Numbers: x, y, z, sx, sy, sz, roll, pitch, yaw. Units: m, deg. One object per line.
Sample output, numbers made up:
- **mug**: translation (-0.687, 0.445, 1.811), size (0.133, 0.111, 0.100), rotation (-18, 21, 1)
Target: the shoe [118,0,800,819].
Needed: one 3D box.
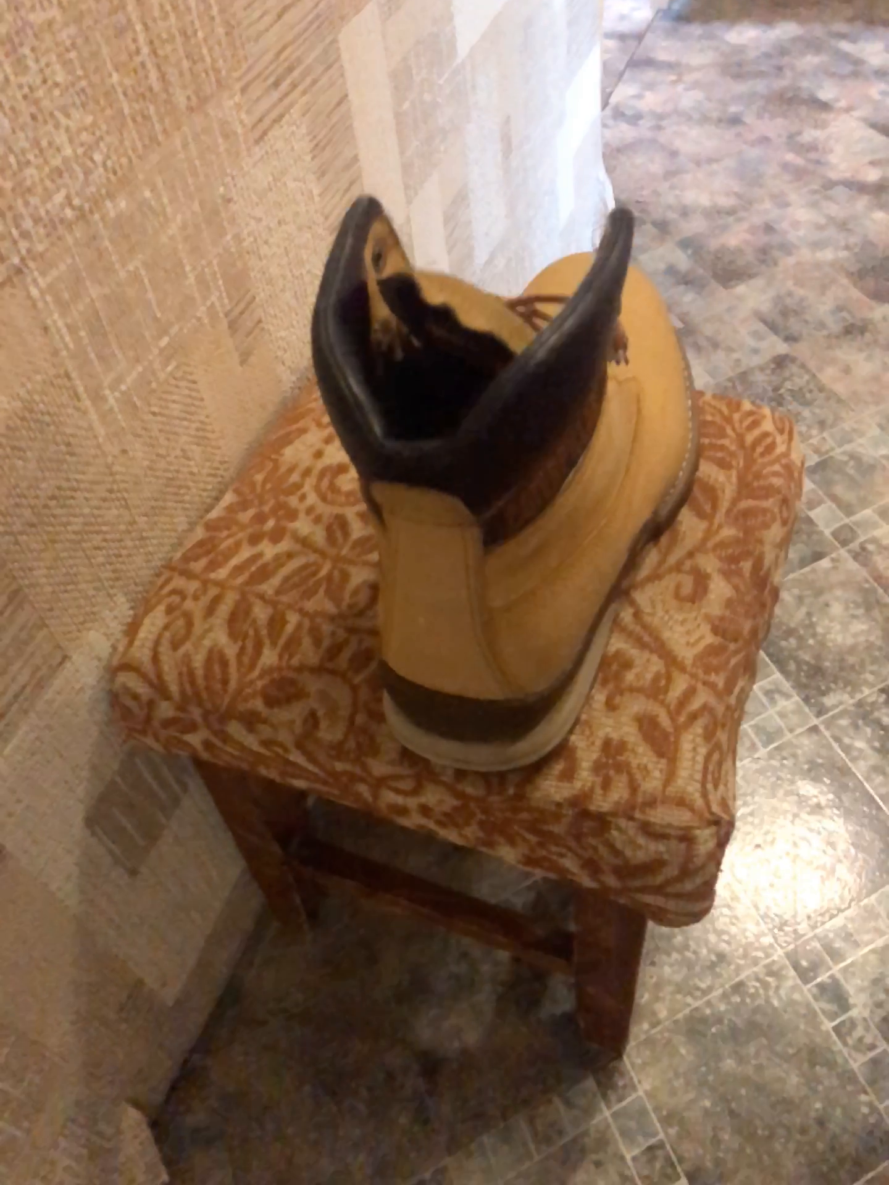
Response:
- **shoe**: translation (0.038, -0.105, 0.406), size (0.140, 0.189, 0.311), rotation (12, 52, 17)
